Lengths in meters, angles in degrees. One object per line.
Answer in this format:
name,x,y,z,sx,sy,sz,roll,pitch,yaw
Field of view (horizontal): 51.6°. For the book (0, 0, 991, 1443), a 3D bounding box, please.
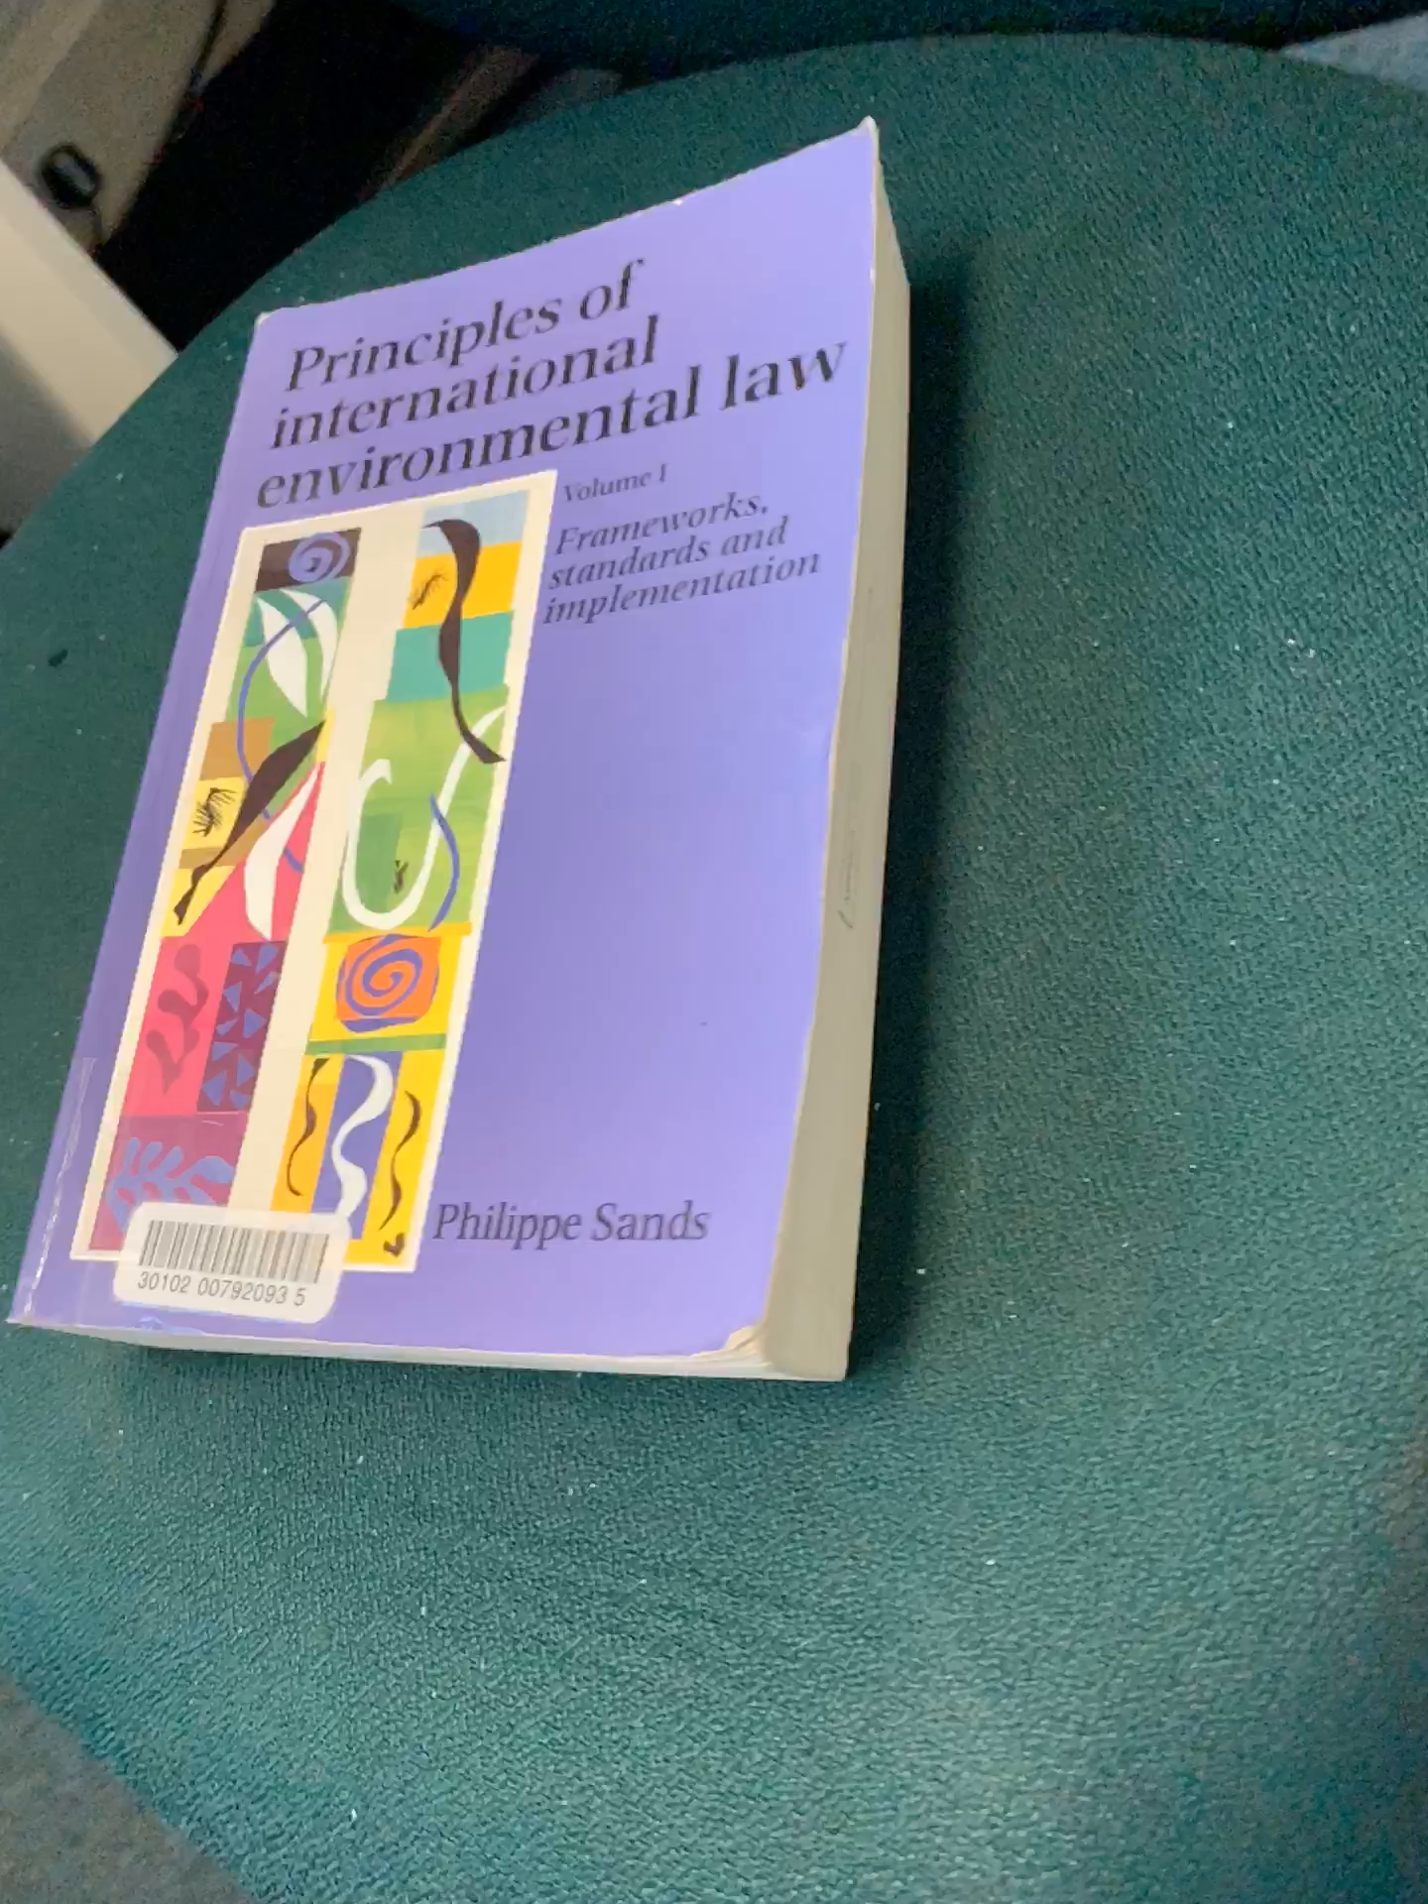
book,-0.042,-0.050,0.302,0.181,0.050,0.271,-4,65,24
